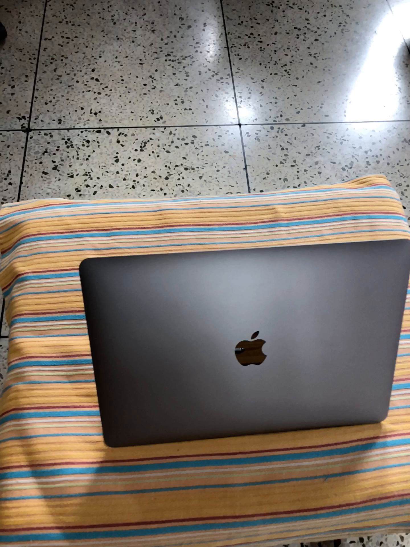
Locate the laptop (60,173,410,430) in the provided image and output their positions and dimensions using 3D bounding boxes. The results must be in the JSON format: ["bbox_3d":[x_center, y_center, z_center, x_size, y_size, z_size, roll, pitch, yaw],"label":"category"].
[{"bbox_3d":[0.029,0.033,0.461,0.294,0.160,0.204,-2,62,-4],"label":"laptop"}]
